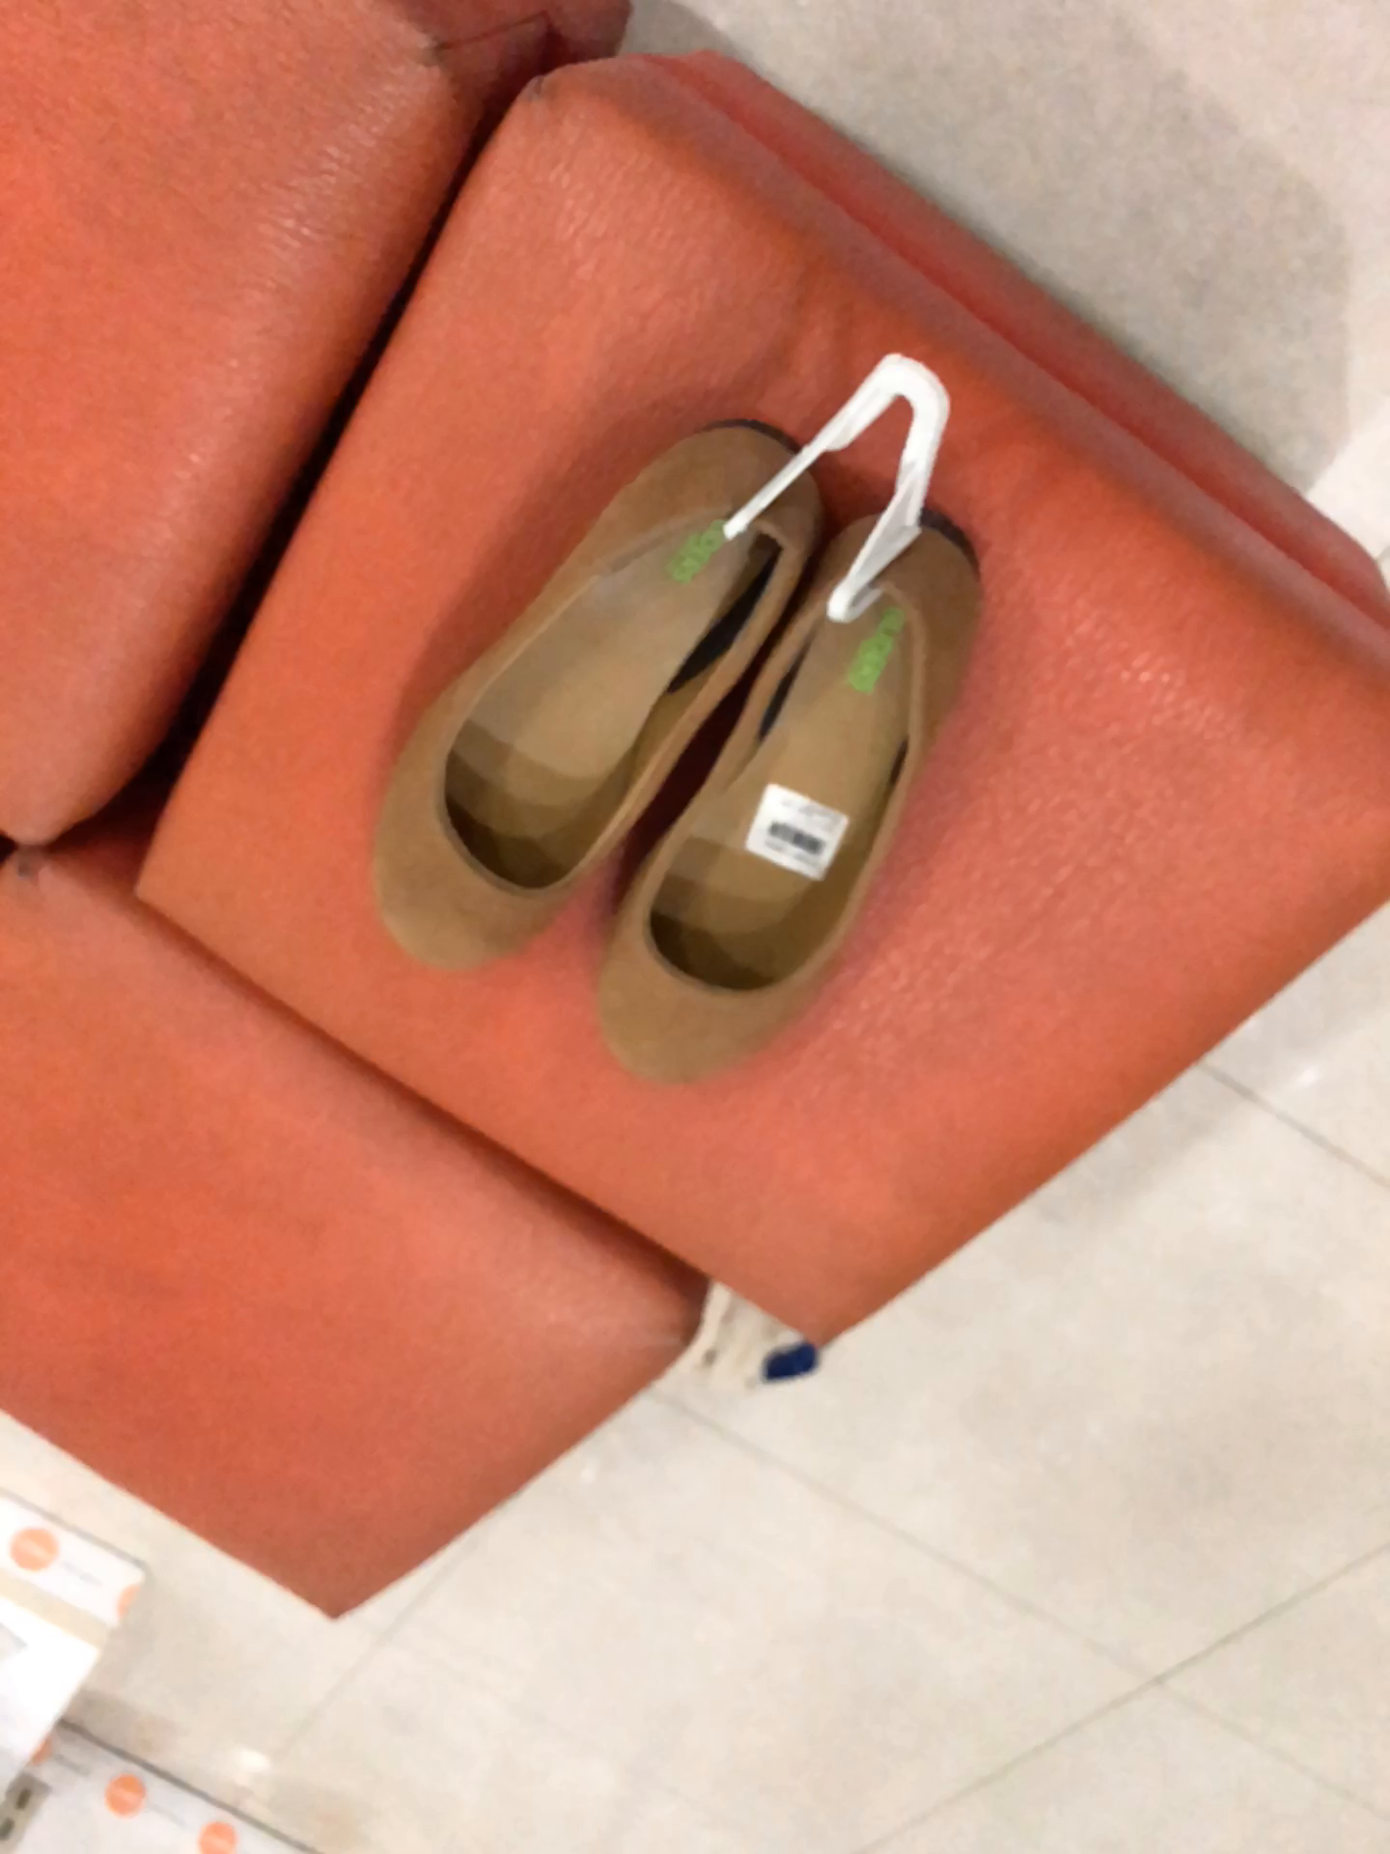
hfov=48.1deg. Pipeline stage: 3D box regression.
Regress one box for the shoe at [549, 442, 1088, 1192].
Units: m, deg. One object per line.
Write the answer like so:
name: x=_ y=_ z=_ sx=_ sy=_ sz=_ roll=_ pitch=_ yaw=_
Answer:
shoe: x=0.039 y=-0.029 z=0.614 sx=0.094 sy=0.070 sz=0.288 roll=25 pitch=126 yaw=-2

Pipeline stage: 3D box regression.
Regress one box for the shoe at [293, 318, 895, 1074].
shoe: x=-0.049 y=-0.076 z=0.608 sx=0.097 sy=0.070 sz=0.288 roll=33 pitch=125 yaw=-6
